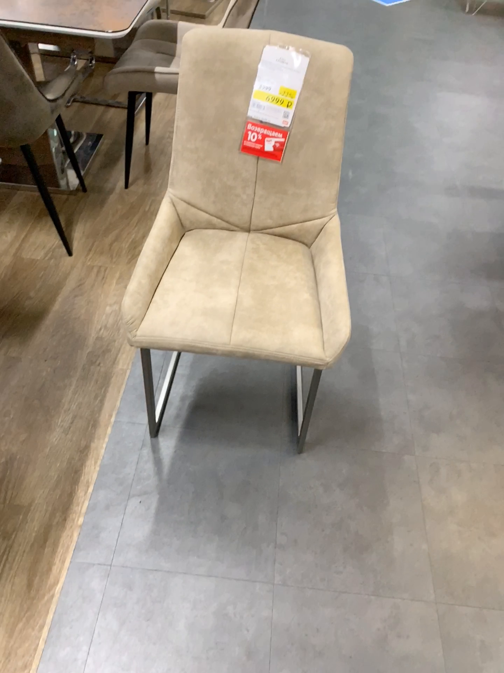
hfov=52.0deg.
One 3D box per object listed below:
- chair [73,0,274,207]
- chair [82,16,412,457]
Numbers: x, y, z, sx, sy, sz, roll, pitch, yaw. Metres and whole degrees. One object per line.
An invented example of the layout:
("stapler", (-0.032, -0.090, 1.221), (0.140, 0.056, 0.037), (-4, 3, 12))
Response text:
("chair", (-0.276, -1.066, 2.135), (0.623, 0.842, 0.483), (7, 47, 0))
("chair", (-0.020, -0.198, 1.320), (0.510, 0.887, 0.586), (5, 47, -1))
